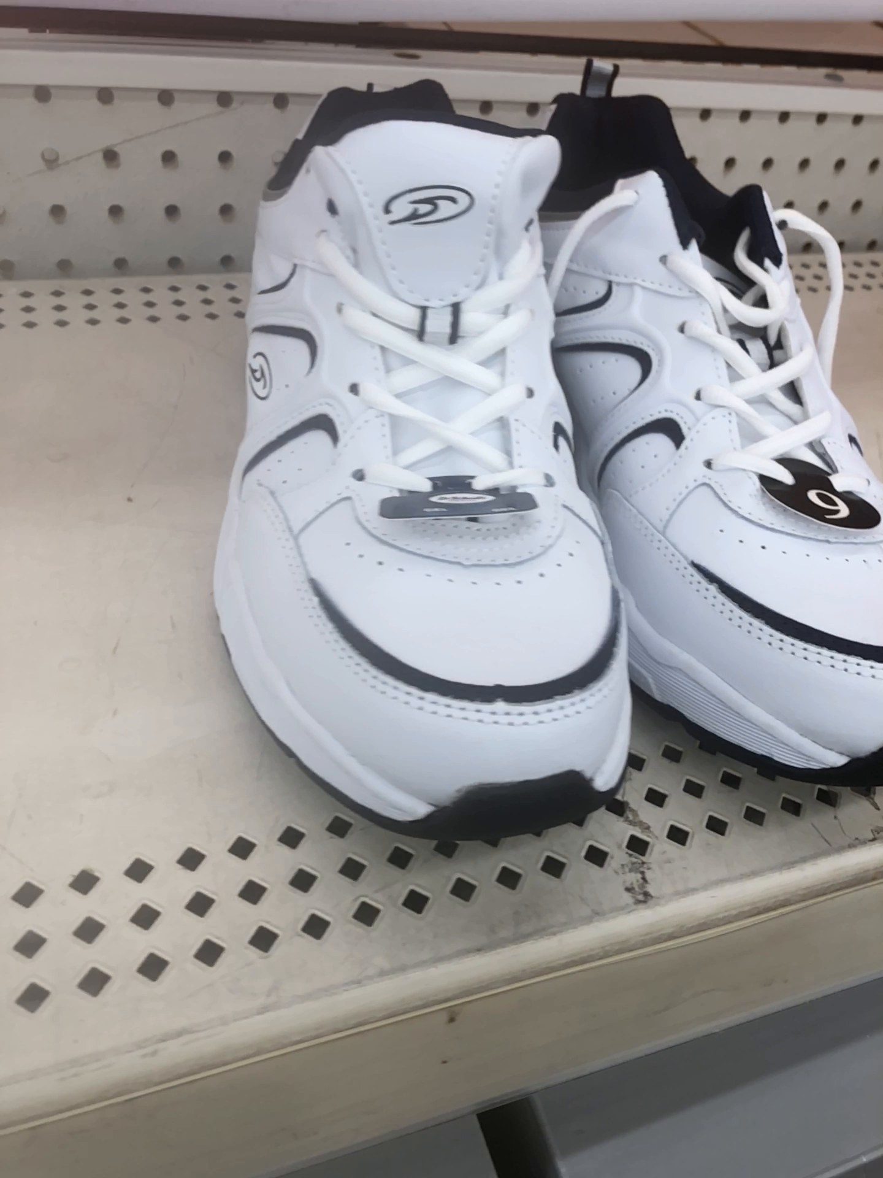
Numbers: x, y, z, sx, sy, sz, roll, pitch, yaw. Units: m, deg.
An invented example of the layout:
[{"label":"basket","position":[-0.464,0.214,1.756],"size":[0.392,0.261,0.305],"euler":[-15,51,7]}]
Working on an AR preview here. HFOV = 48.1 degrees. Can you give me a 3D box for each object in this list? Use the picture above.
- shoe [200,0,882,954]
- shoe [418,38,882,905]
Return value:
[{"label":"shoe","position":[-0.006,-0.056,0.278],"size":[0.110,0.120,0.261],"euler":[-2,45,-14]},{"label":"shoe","position":[0.086,-0.060,0.307],"size":[0.110,0.120,0.261],"euler":[-5,45,-17]}]
